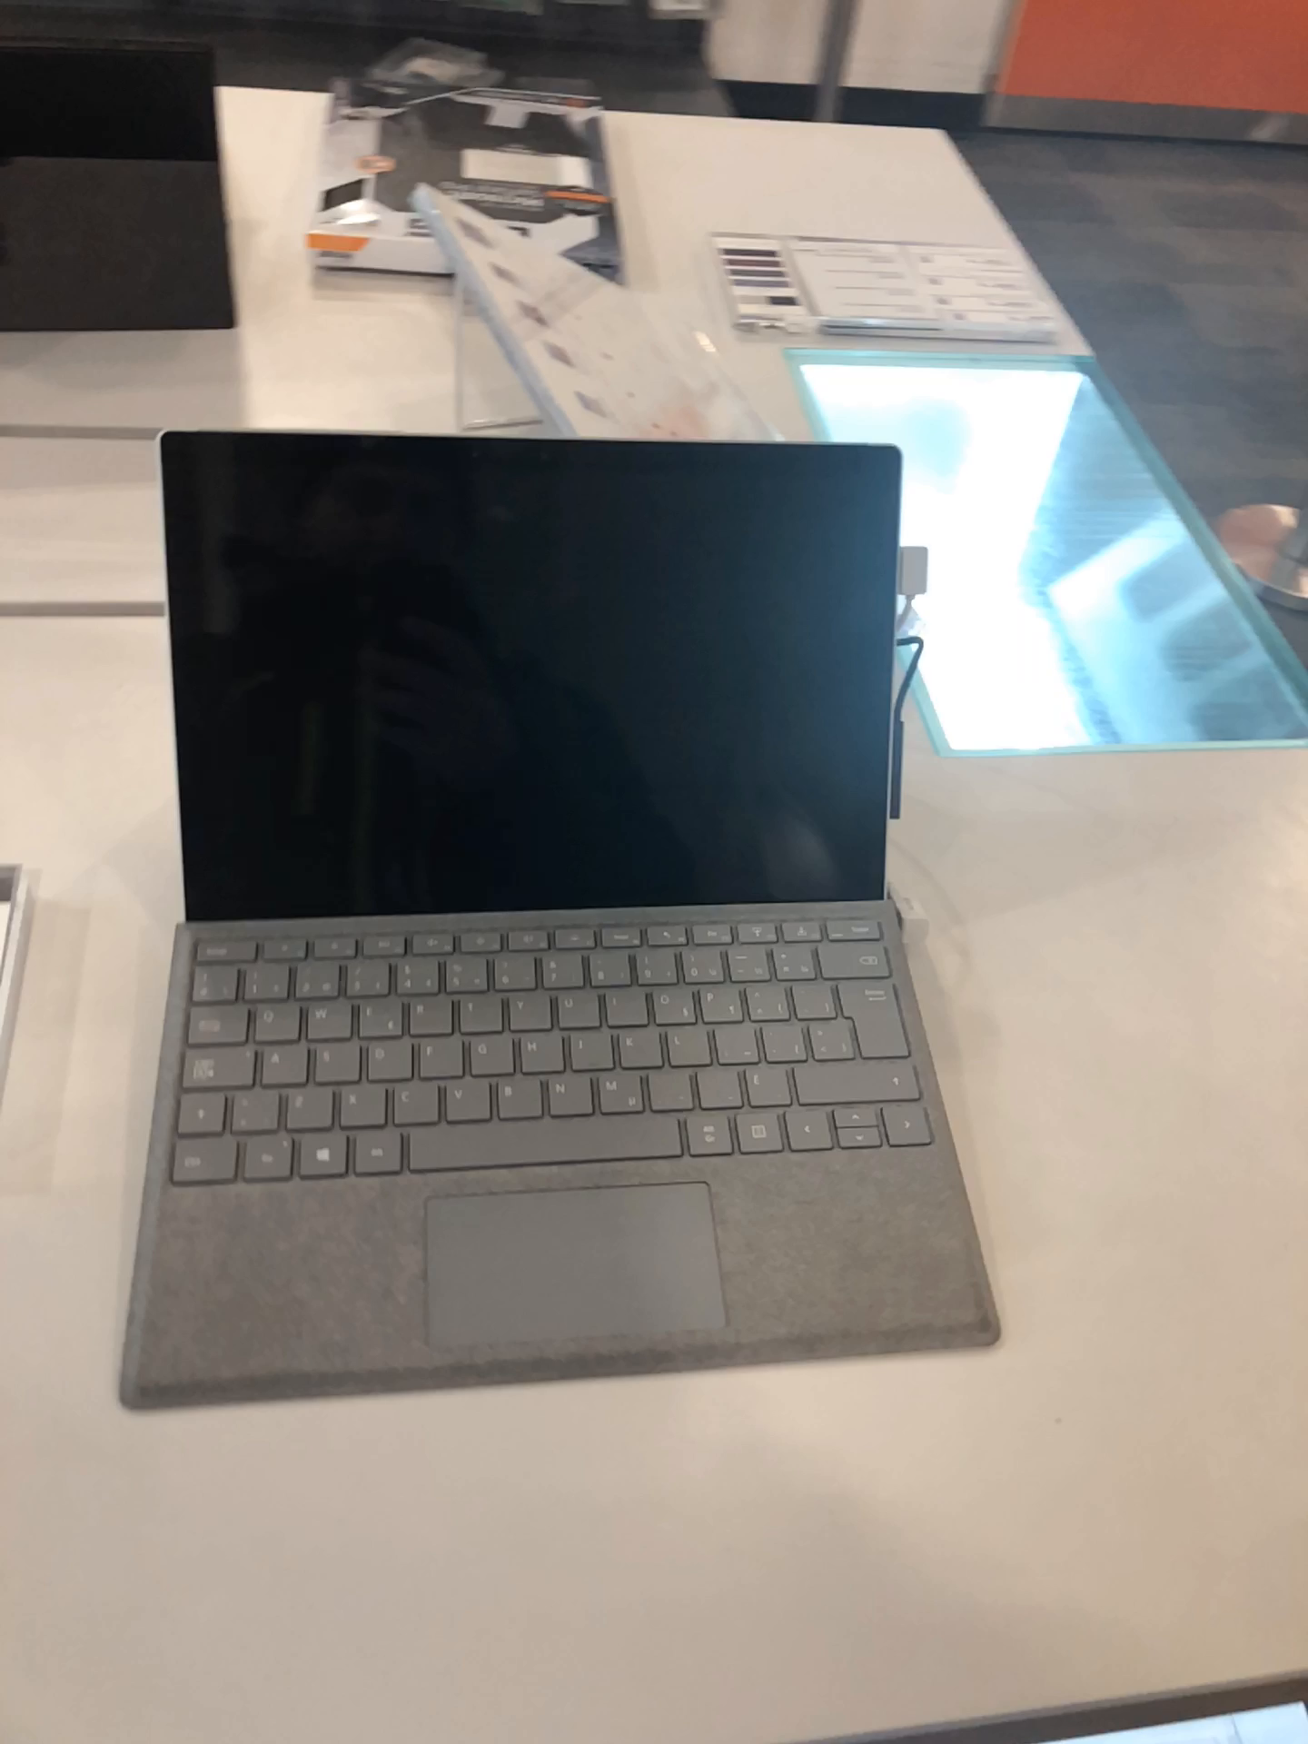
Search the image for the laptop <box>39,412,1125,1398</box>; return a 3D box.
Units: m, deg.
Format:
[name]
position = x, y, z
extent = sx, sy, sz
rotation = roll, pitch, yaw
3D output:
[laptop]
position = -0.032, -0.006, 0.512
extent = 0.279, 0.147, 0.298
rotation = -1, 51, -9
